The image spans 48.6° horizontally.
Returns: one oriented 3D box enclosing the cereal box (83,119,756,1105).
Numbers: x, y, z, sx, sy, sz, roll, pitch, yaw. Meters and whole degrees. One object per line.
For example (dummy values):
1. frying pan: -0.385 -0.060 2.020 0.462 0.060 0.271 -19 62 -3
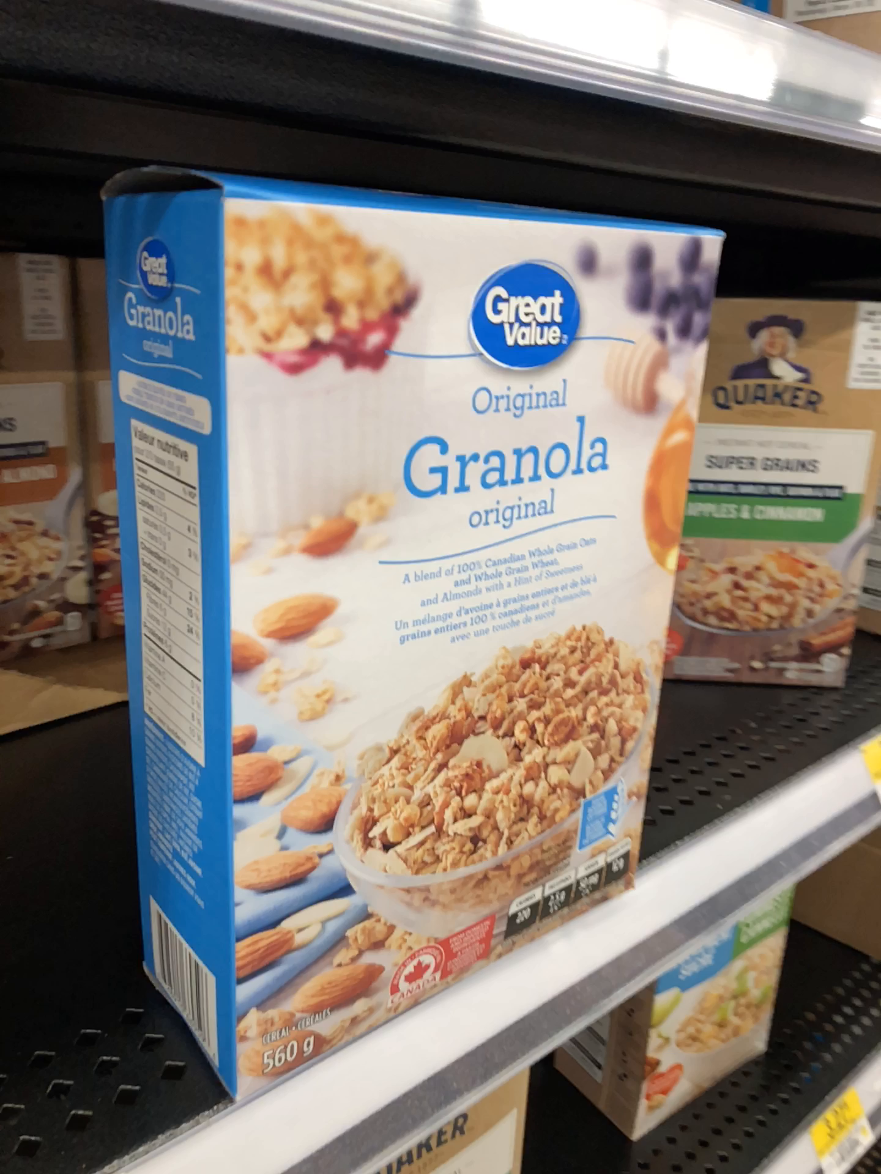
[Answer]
1. cereal box: -0.003 -0.001 0.279 0.160 0.219 0.070 -12 23 -38
